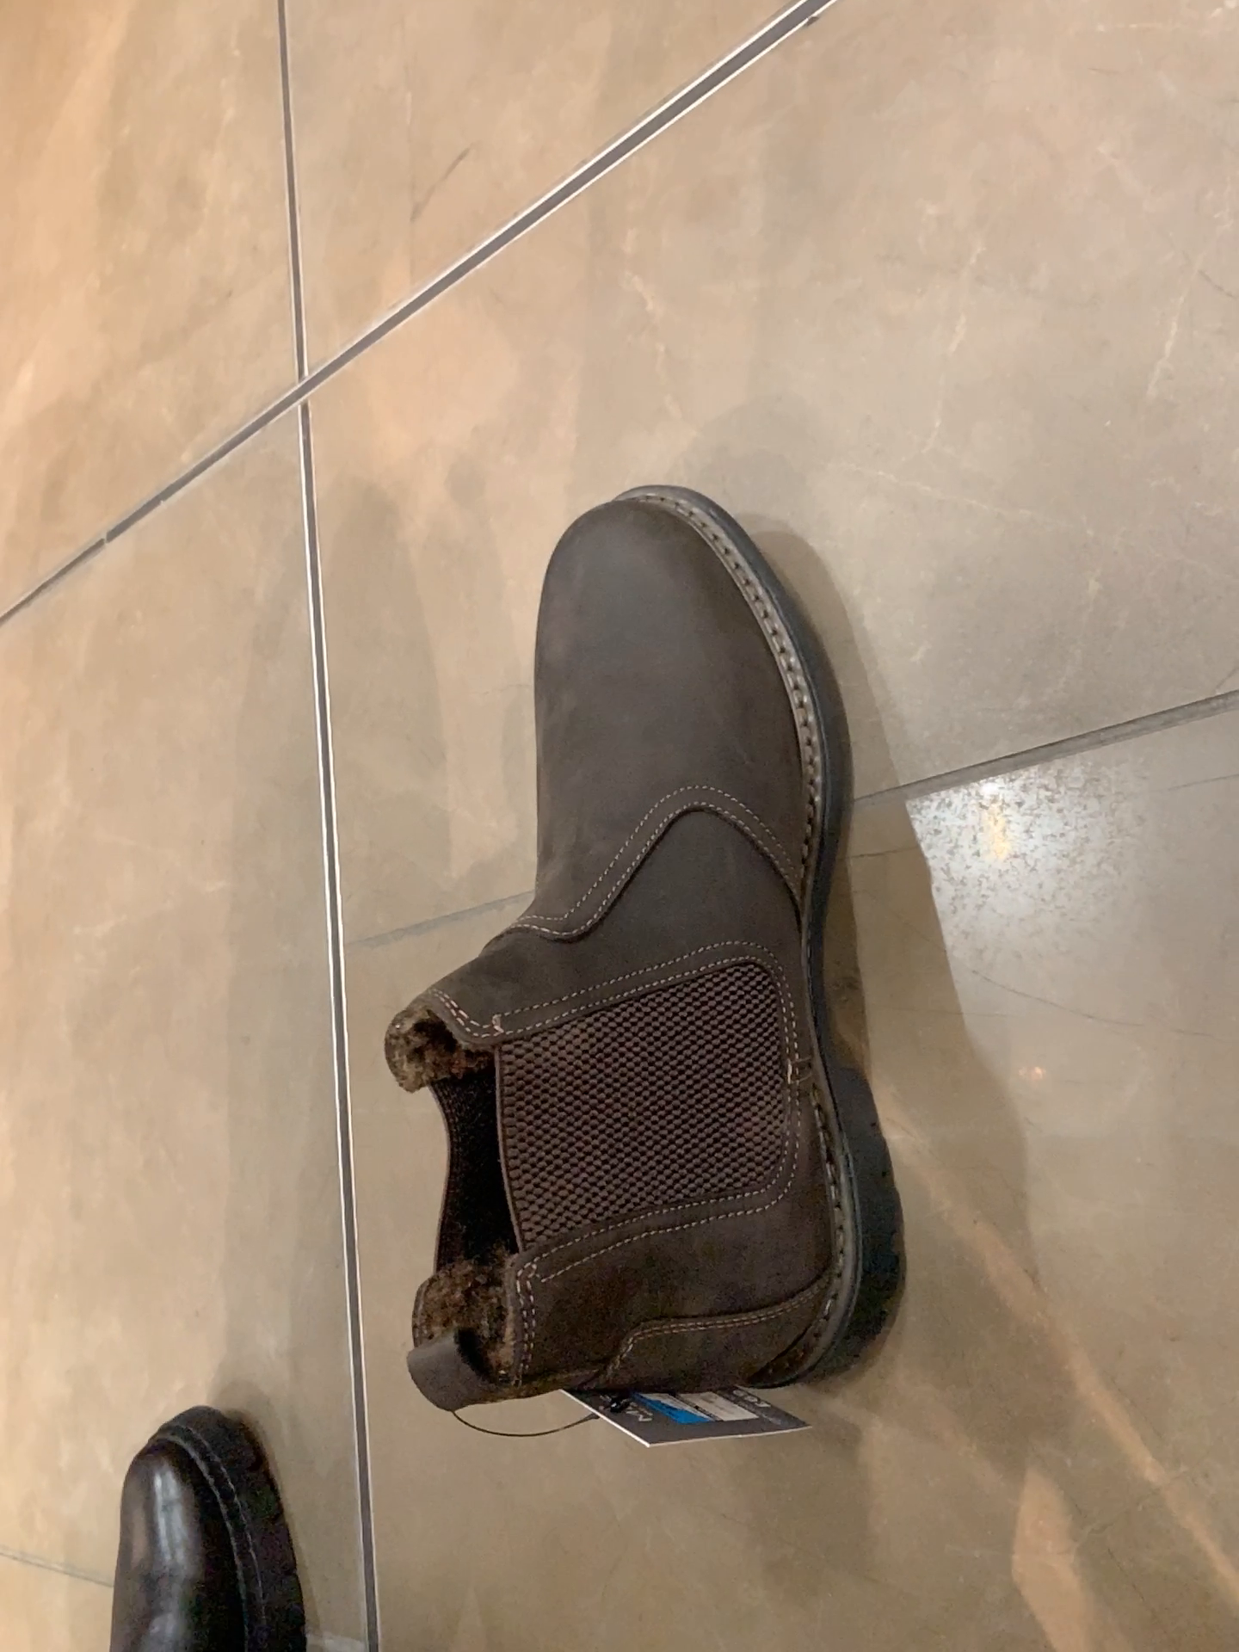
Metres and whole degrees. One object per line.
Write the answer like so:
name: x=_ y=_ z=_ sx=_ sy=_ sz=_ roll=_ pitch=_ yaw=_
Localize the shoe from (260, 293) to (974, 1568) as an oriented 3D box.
shoe: x=-0.004 y=0.028 z=0.397 sx=0.114 sy=0.165 sz=0.304 roll=-17 pitch=73 yaw=39
